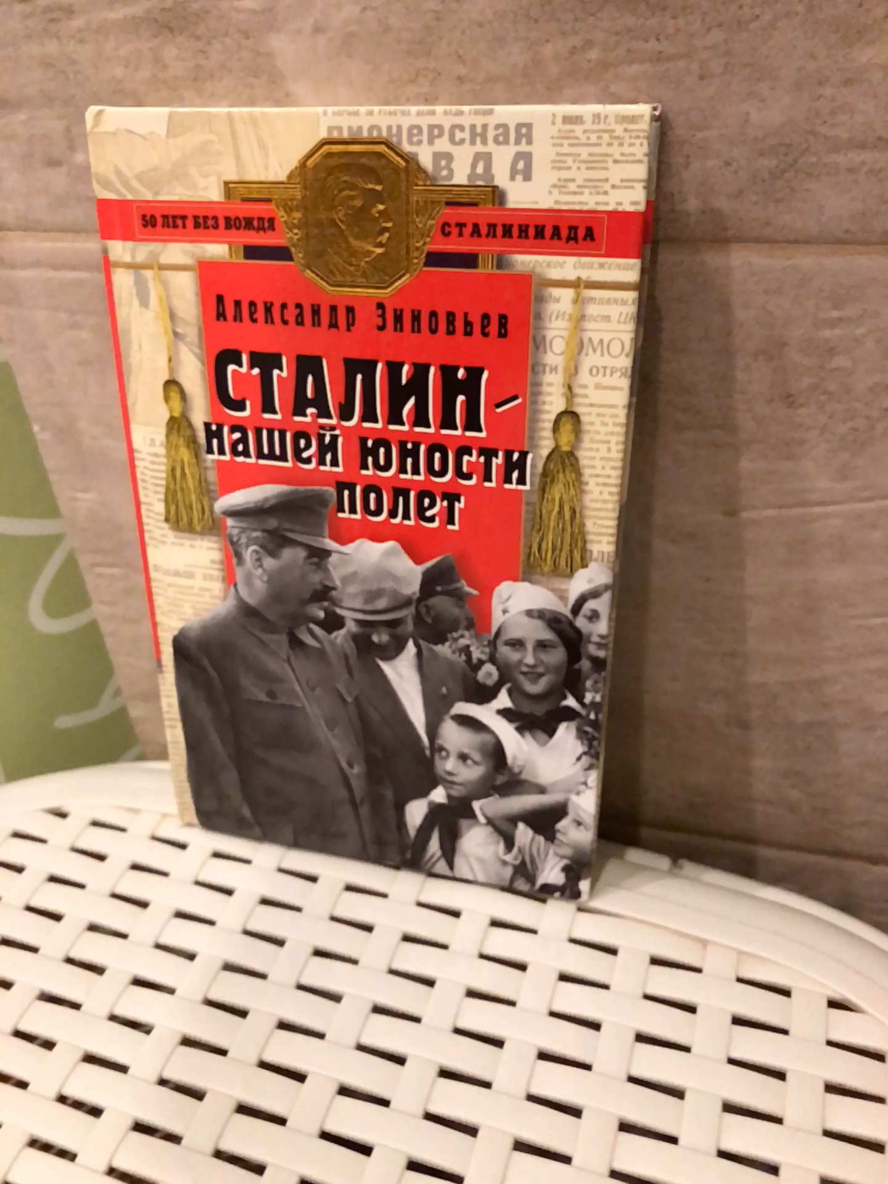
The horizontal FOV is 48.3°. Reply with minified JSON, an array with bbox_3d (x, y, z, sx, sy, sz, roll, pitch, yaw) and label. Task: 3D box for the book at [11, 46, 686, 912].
[{"bbox_3d":[-0.021,-0.021,0.250,0.140,0.199,0.030,8,27,17],"label":"book"}]
